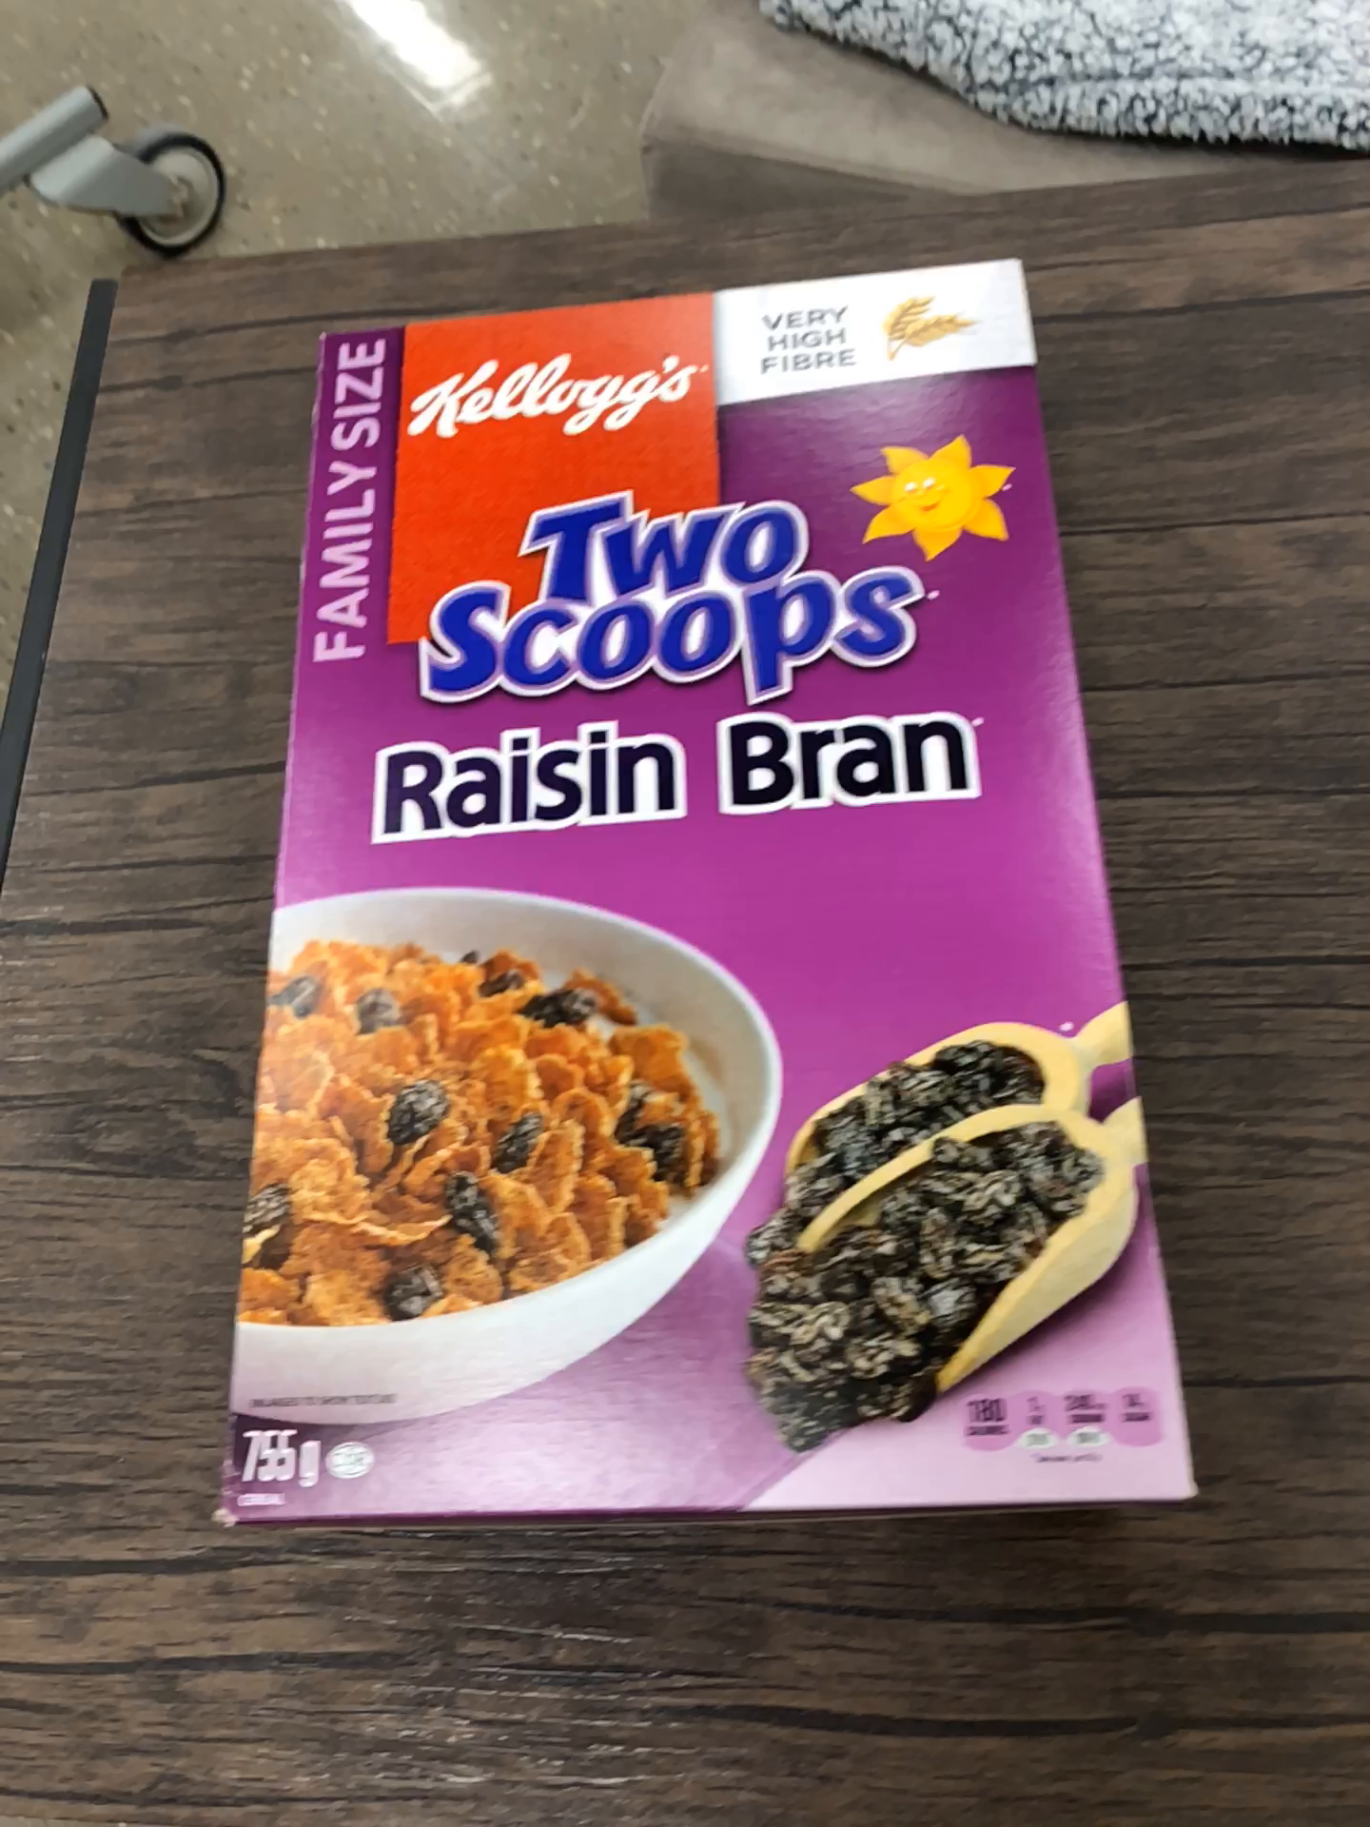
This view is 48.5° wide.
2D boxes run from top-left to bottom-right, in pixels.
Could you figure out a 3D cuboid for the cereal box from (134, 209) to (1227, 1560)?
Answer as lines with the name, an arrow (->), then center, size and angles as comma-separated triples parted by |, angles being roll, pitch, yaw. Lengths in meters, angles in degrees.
cereal box -> -0.004, -0.014, 0.385 | 0.210, 0.080, 0.320 | -4, 68, 6
